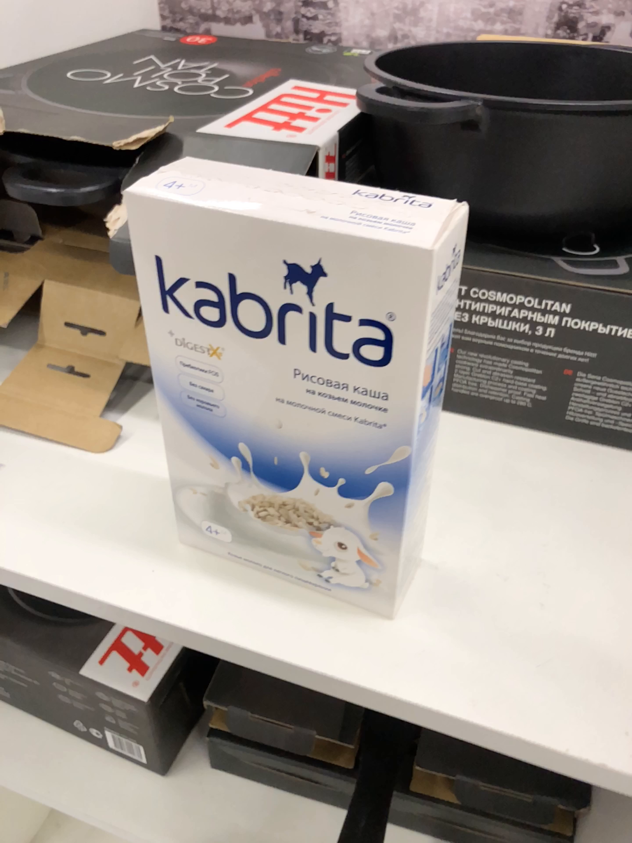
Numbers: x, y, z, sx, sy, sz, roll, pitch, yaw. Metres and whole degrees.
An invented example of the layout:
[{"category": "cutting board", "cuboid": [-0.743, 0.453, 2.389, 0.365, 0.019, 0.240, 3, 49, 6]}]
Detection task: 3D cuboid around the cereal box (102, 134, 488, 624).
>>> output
[{"category": "cereal box", "cuboid": [-0.009, -0.014, 0.340, 0.140, 0.209, 0.060, 16, 40, 19]}]
